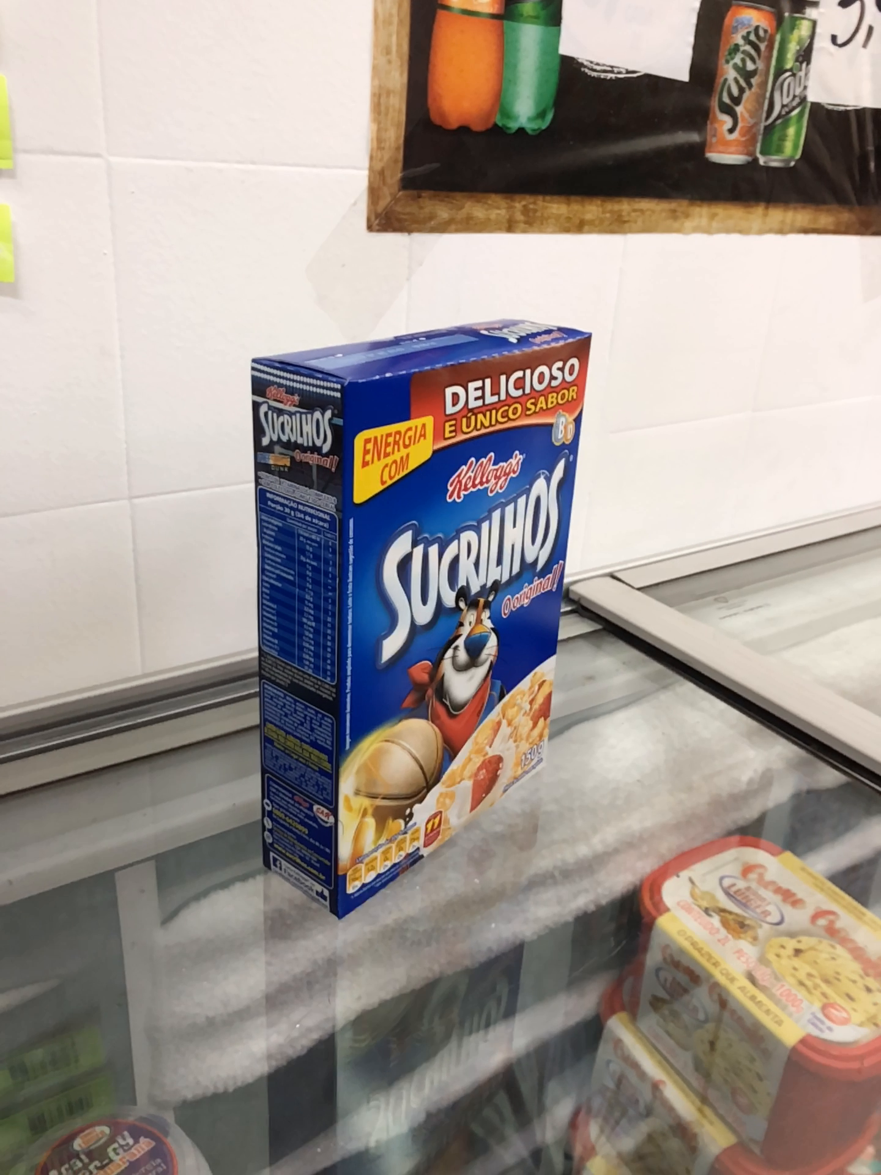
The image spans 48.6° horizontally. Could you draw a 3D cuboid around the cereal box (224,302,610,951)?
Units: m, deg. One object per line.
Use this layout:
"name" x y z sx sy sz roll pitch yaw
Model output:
"cereal box" -0.007 0.006 0.361 0.050 0.199 0.141 20 28 33
